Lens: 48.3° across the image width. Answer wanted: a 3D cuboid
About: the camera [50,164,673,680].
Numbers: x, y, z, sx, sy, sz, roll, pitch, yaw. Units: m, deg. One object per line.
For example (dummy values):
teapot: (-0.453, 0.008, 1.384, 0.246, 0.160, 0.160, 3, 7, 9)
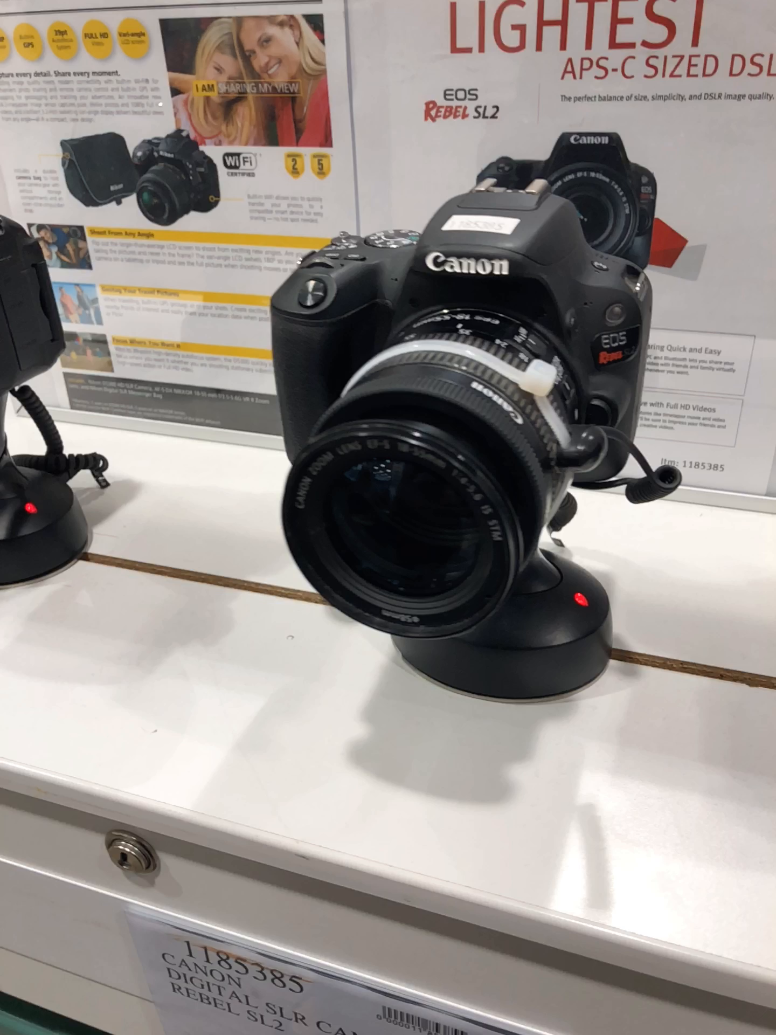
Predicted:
camera: (0.008, -0.044, 0.257, 0.130, 0.090, 0.141, 8, 33, 16)
